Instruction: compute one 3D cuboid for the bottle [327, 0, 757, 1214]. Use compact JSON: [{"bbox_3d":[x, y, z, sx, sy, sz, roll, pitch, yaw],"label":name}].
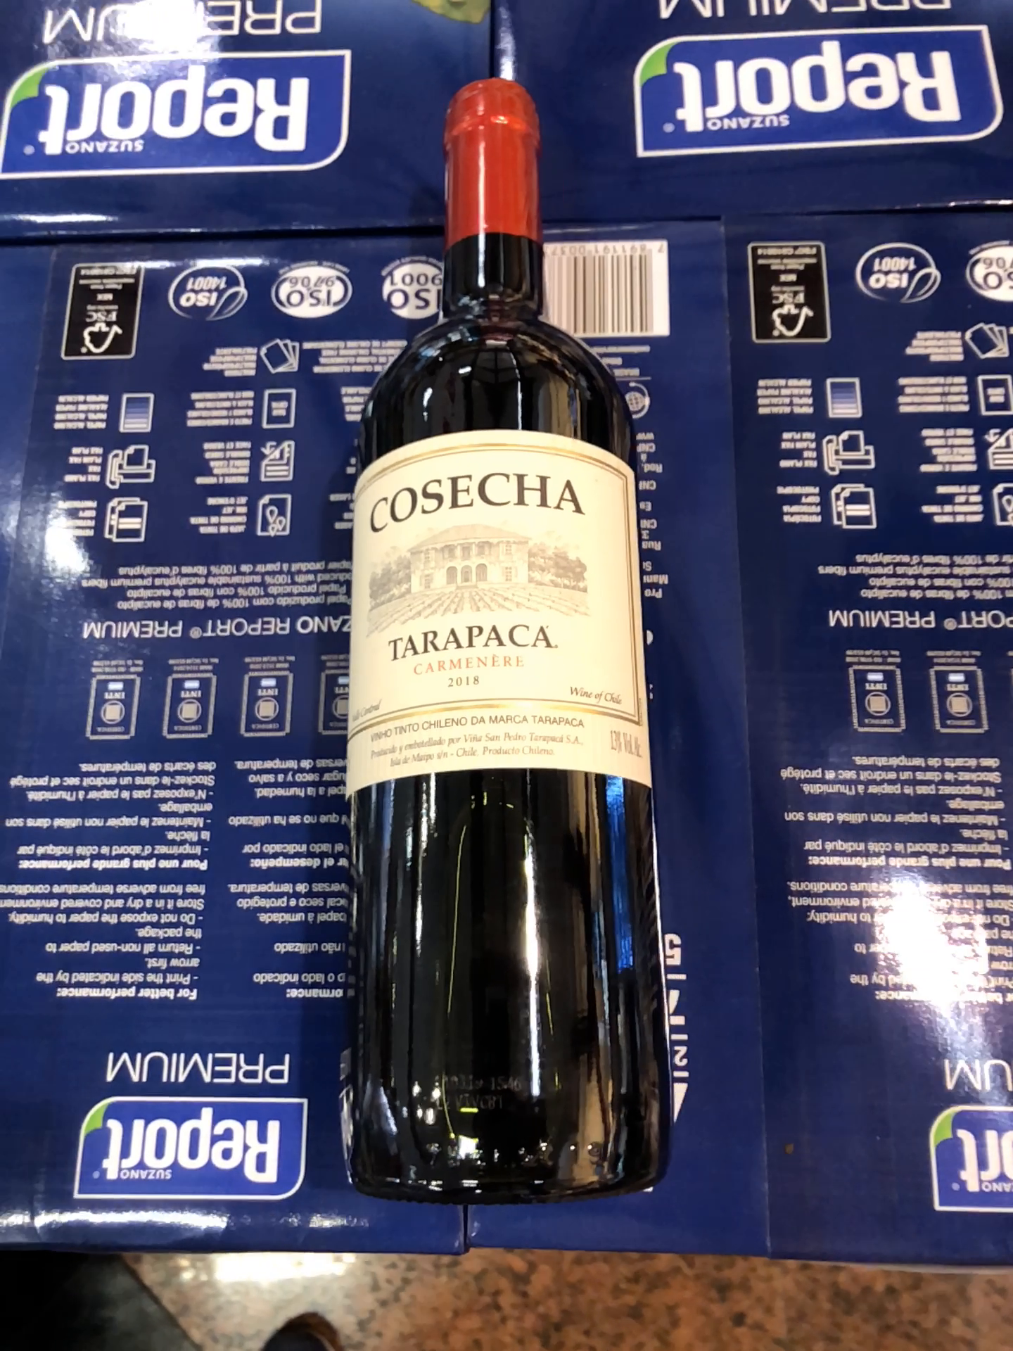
[{"bbox_3d":[0.003,-0.049,0.290,0.080,0.060,0.331,-3,72,2],"label":"bottle"}]
